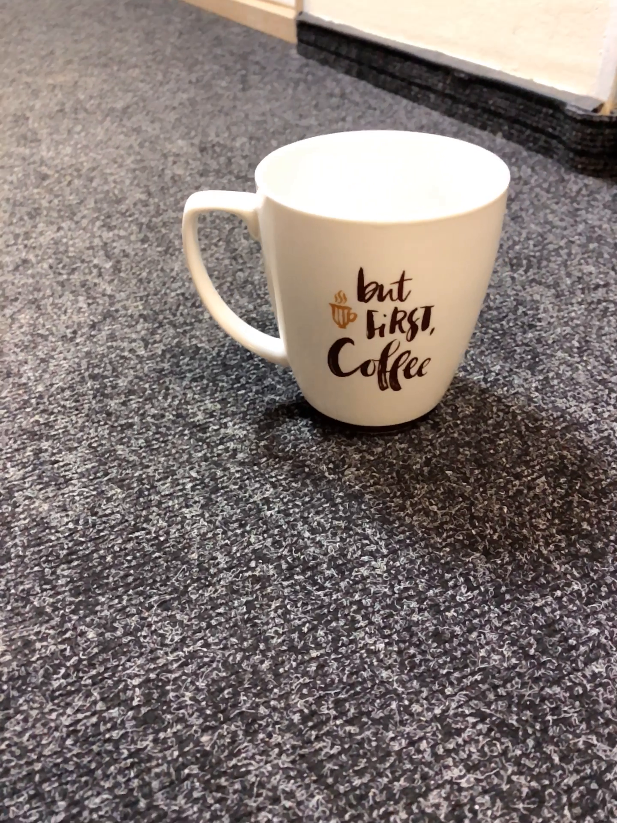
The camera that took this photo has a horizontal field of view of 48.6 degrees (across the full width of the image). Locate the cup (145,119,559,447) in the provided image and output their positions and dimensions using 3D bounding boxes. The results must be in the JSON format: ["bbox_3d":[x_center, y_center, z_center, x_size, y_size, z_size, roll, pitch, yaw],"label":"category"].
[{"bbox_3d":[0.012,-0.063,0.312,0.145,0.100,0.111,-4,38,-4],"label":"cup"}]
